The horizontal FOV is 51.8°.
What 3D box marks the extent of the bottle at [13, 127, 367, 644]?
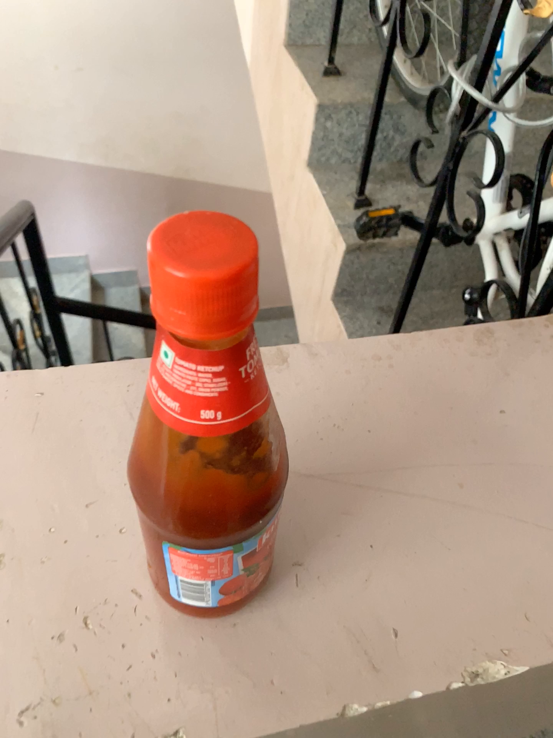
[{"bbox_3d":[-0.027,0.030,0.234,0.070,0.218,0.070,3,48,-3],"label":"bottle"}]
